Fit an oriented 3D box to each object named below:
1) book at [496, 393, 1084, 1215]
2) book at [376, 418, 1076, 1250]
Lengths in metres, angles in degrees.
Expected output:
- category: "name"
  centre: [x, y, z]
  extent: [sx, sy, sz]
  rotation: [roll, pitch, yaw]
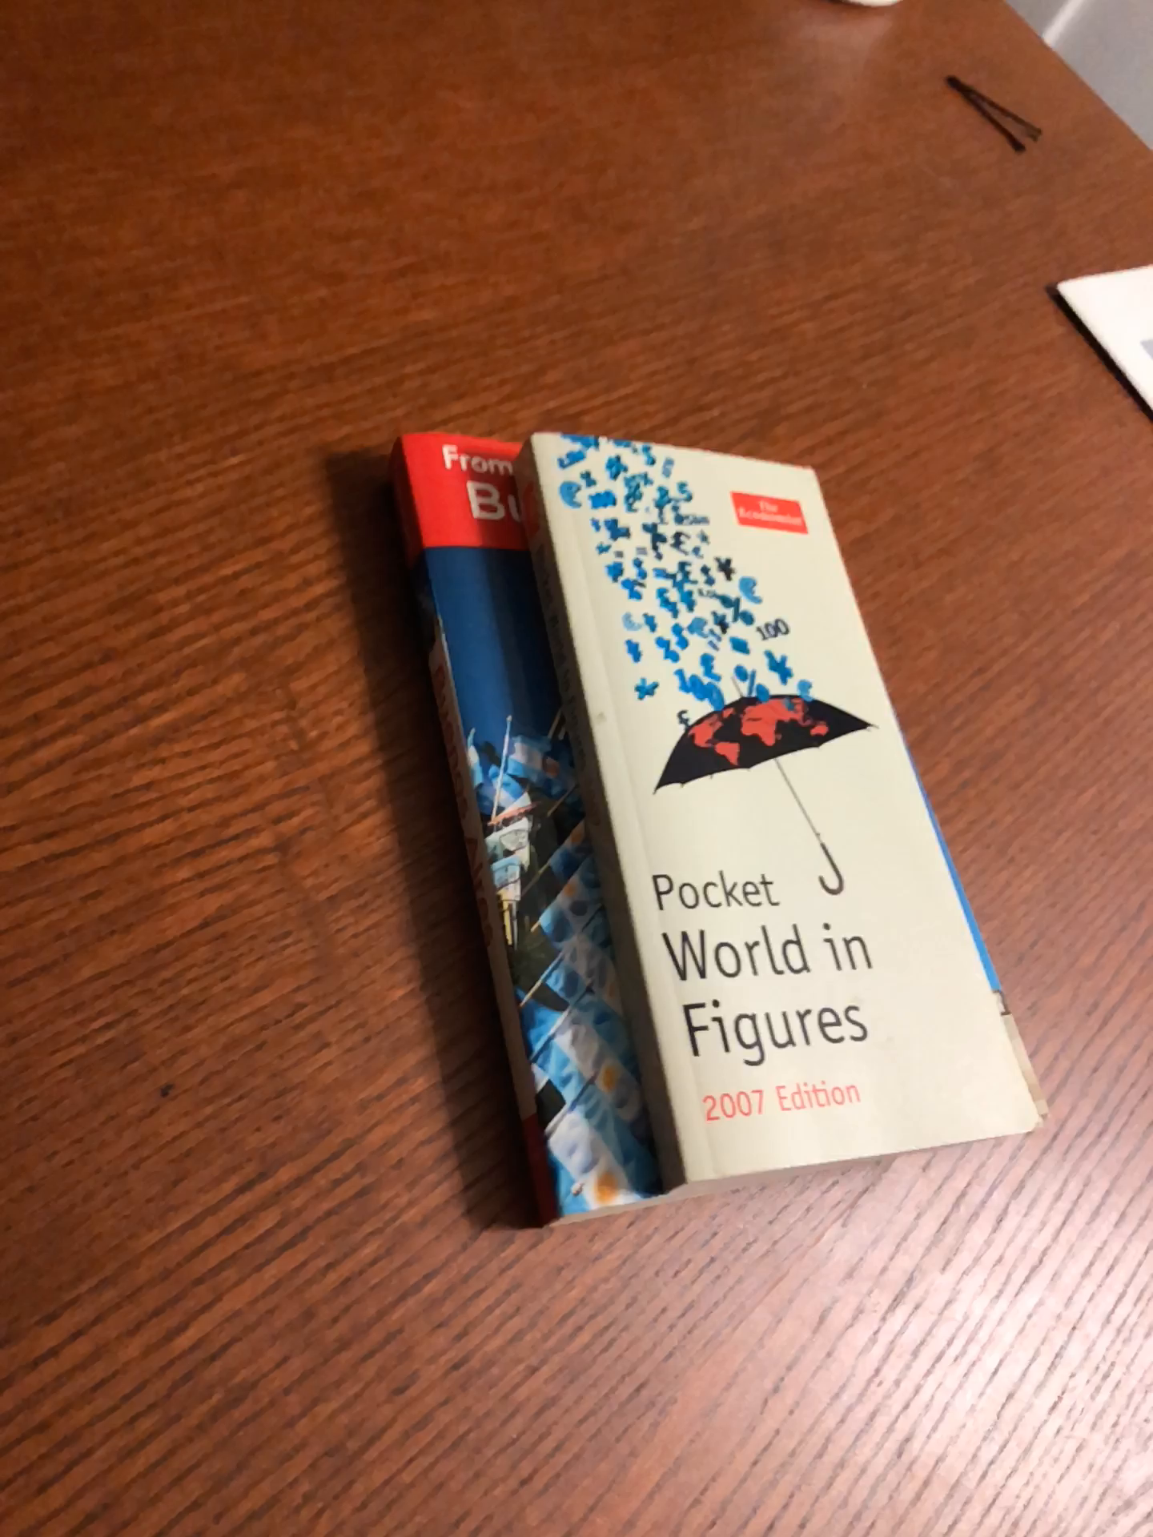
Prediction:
- category: "book"
  centre: [0.046, -0.003, 0.315]
  extent: [0.100, 0.020, 0.201]
  rotation: [1, 62, -25]
- category: "book"
  centre: [0.034, 0.002, 0.337]
  extent: [0.140, 0.020, 0.211]
  rotation: [-2, 63, -26]
